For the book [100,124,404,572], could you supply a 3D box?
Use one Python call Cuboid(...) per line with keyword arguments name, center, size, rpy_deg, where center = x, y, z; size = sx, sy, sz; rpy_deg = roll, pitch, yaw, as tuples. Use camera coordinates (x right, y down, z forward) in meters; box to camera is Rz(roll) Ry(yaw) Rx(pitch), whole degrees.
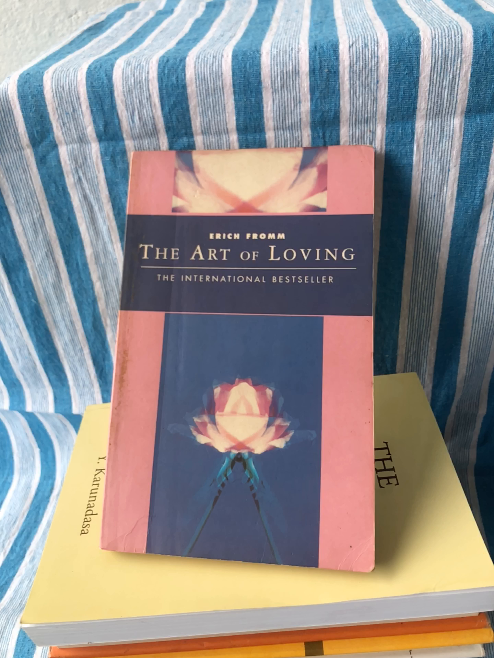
Cuboid(name="book", center=(0.003, 0.002, 0.254), size=(0.129, 0.015, 0.193), rpy_deg=(0, 80, 11))
